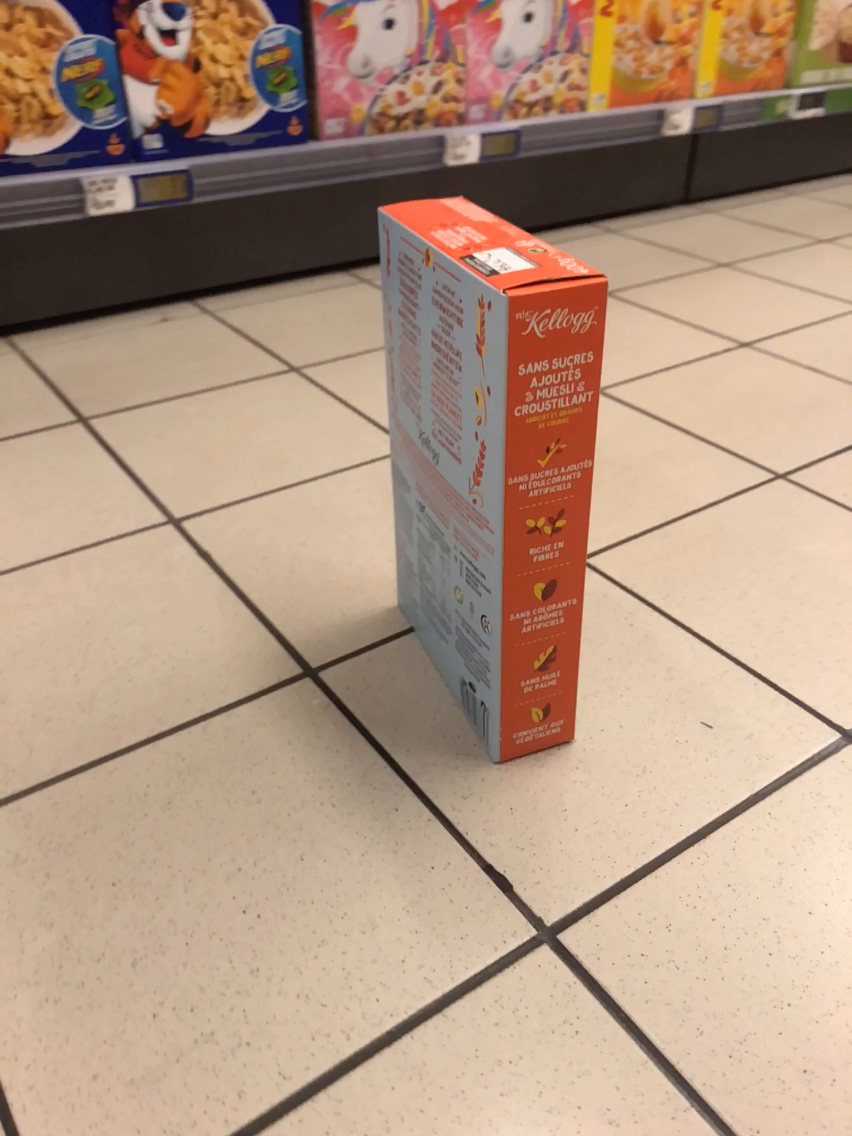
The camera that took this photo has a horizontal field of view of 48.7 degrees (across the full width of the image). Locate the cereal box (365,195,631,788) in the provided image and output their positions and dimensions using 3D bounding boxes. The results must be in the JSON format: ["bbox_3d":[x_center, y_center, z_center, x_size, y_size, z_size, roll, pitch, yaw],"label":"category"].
[{"bbox_3d":[0.025,-0.037,0.441,0.050,0.229,0.151,-13,35,-16],"label":"cereal box"}]
